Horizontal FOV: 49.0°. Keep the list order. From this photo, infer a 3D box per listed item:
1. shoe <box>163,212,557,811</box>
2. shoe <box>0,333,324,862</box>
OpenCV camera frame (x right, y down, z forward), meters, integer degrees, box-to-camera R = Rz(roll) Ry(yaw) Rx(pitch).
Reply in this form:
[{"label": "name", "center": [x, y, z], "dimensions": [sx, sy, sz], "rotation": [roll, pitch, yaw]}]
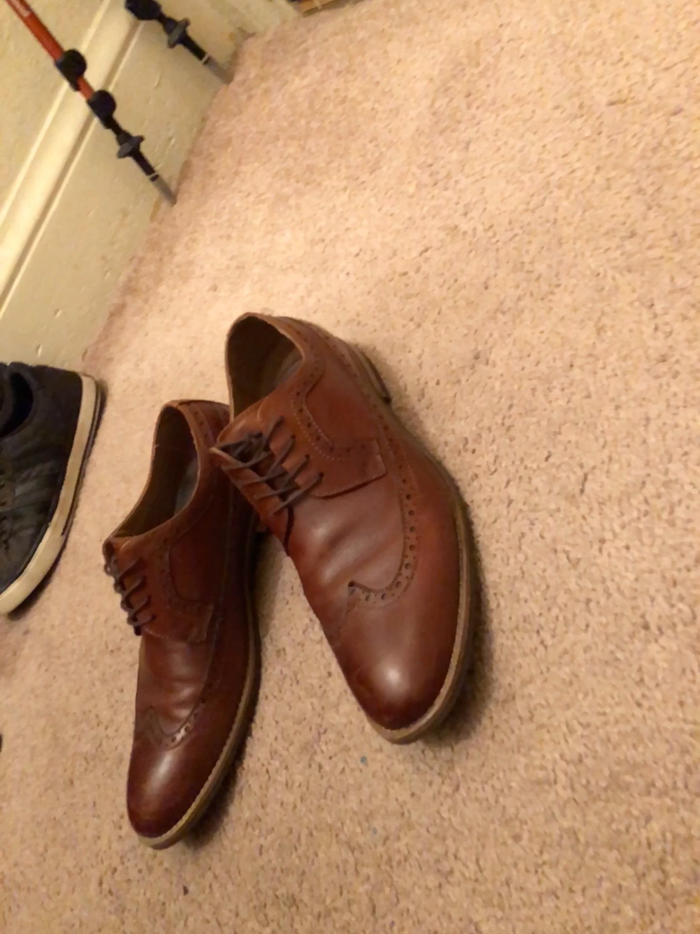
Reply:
[{"label": "shoe", "center": [-0.017, 0.011, 0.438], "dimensions": [0.115, 0.115, 0.311], "rotation": [-39, 45, 27]}, {"label": "shoe", "center": [-0.123, 0.084, 0.525], "dimensions": [0.115, 0.115, 0.311], "rotation": [-11, 62, 44]}]
